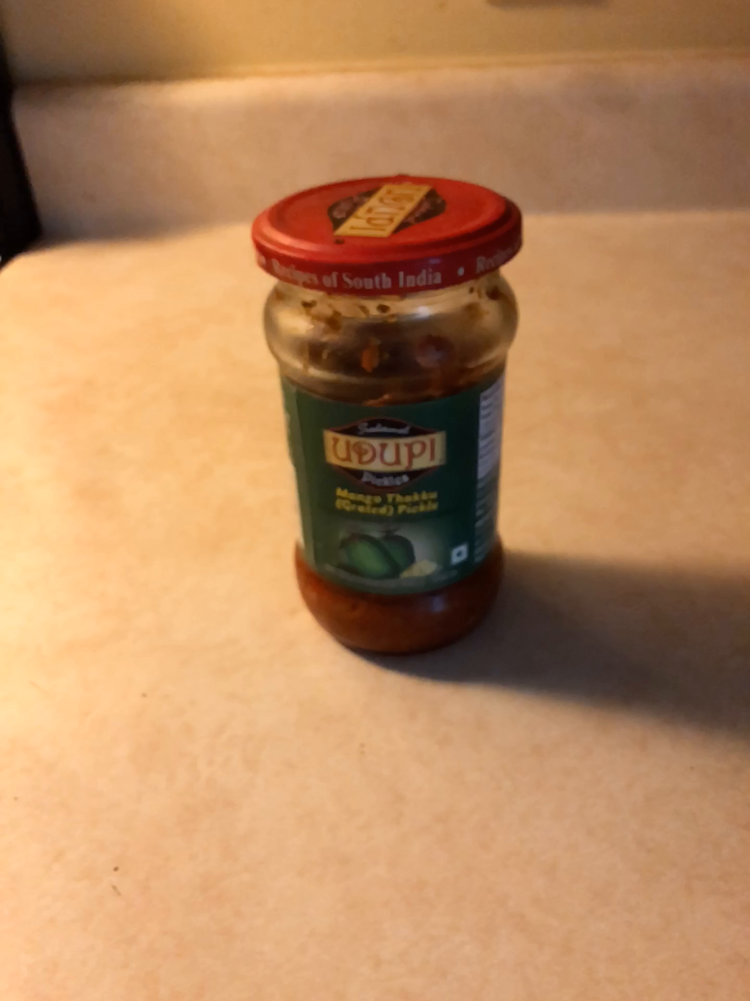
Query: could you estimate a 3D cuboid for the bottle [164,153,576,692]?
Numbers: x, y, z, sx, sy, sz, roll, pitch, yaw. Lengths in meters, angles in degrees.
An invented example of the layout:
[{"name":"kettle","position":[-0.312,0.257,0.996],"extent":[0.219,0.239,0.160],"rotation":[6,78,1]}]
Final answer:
[{"name":"bottle","position":[0.007,-0.025,0.240],"extent":[0.080,0.120,0.080],"rotation":[-2,34,1]}]
